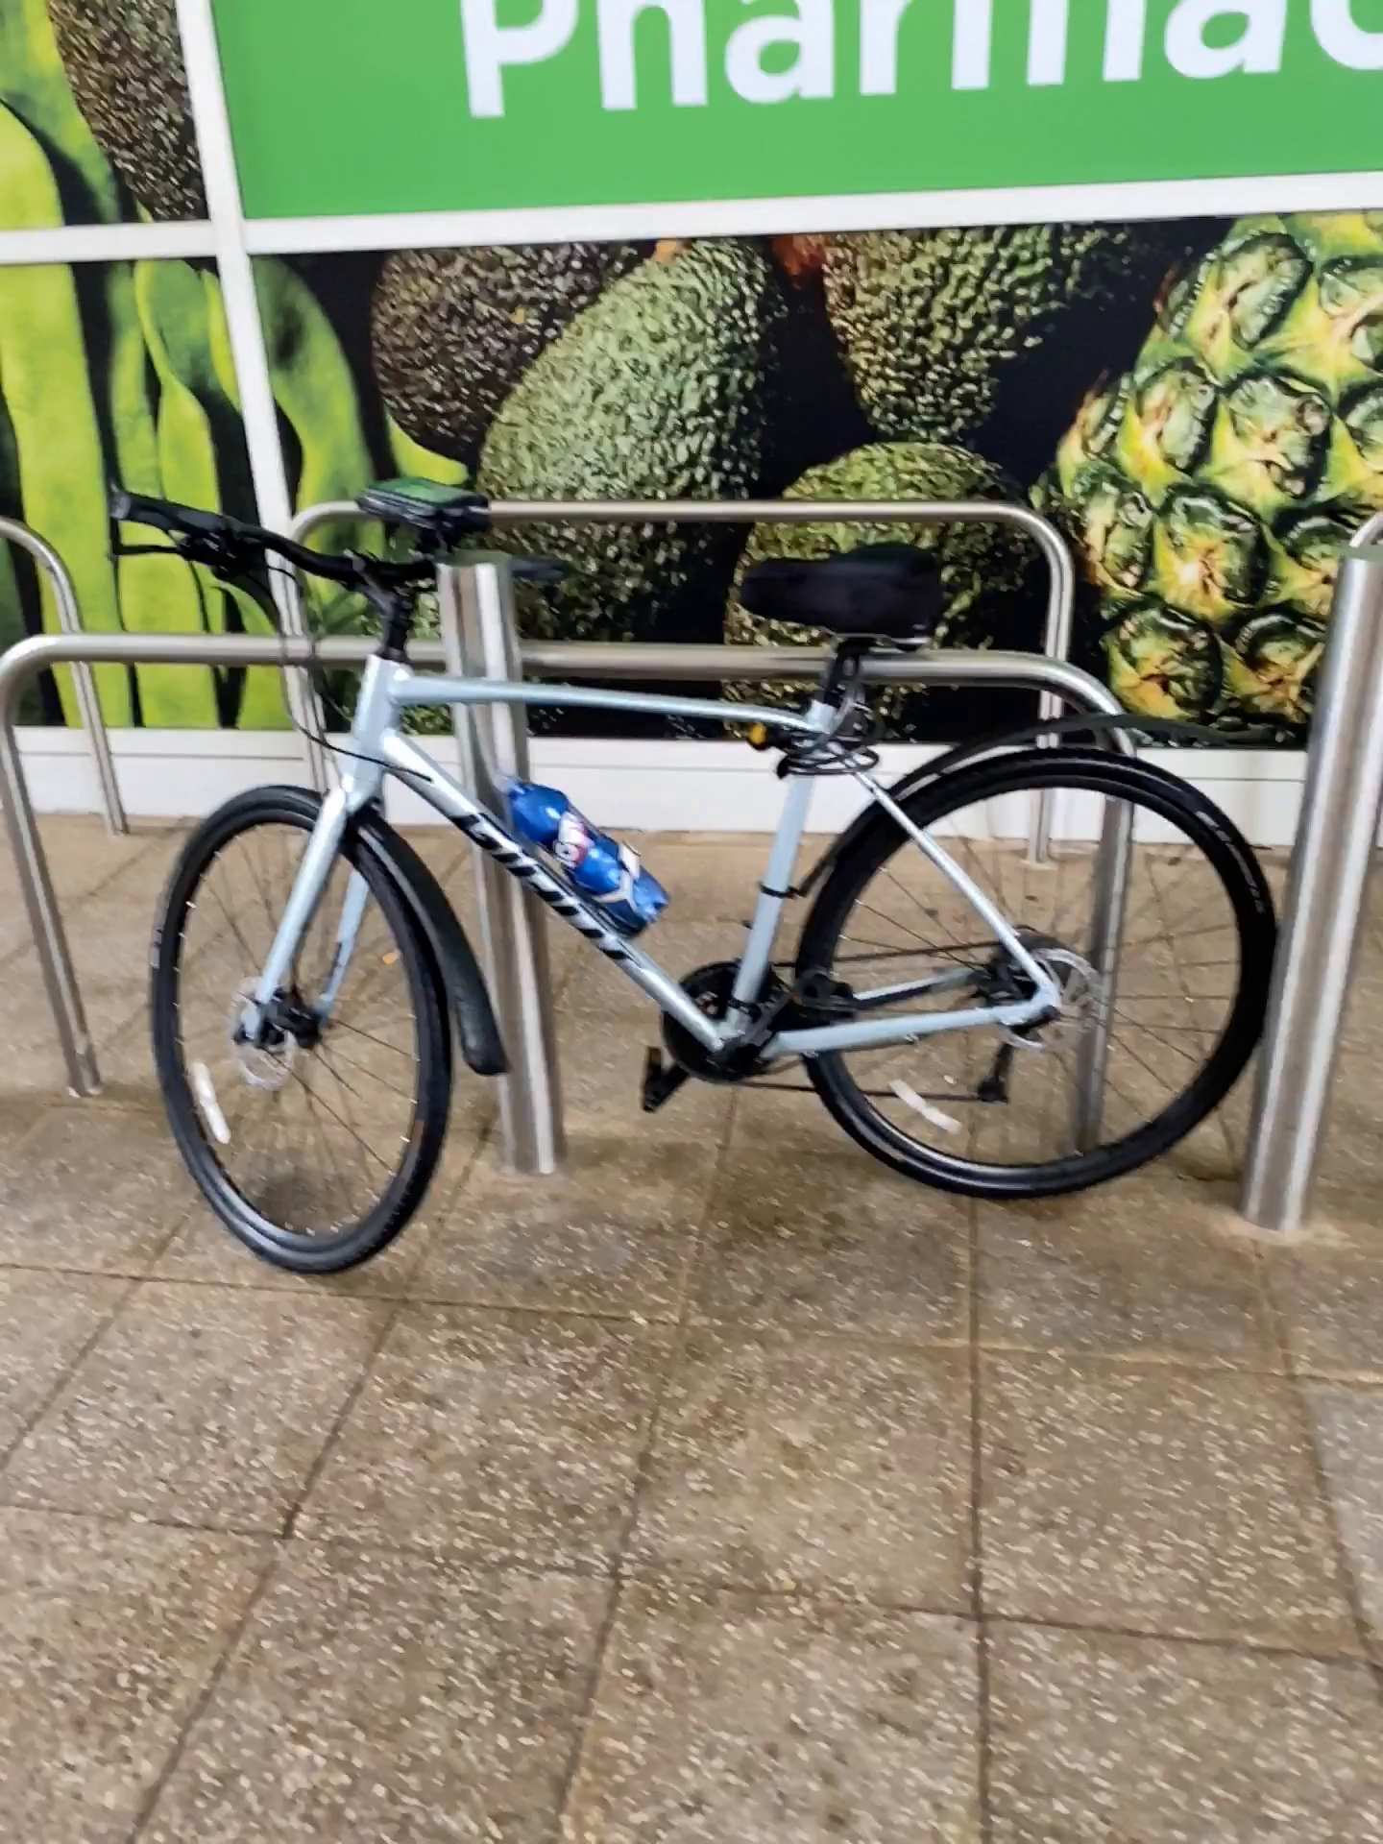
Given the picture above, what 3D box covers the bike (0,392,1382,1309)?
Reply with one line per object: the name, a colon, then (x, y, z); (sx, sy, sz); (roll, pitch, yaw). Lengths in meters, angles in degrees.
bike: (0.003, -0.110, 1.765); (1.461, 0.963, 0.609); (-1, 25, 3)
